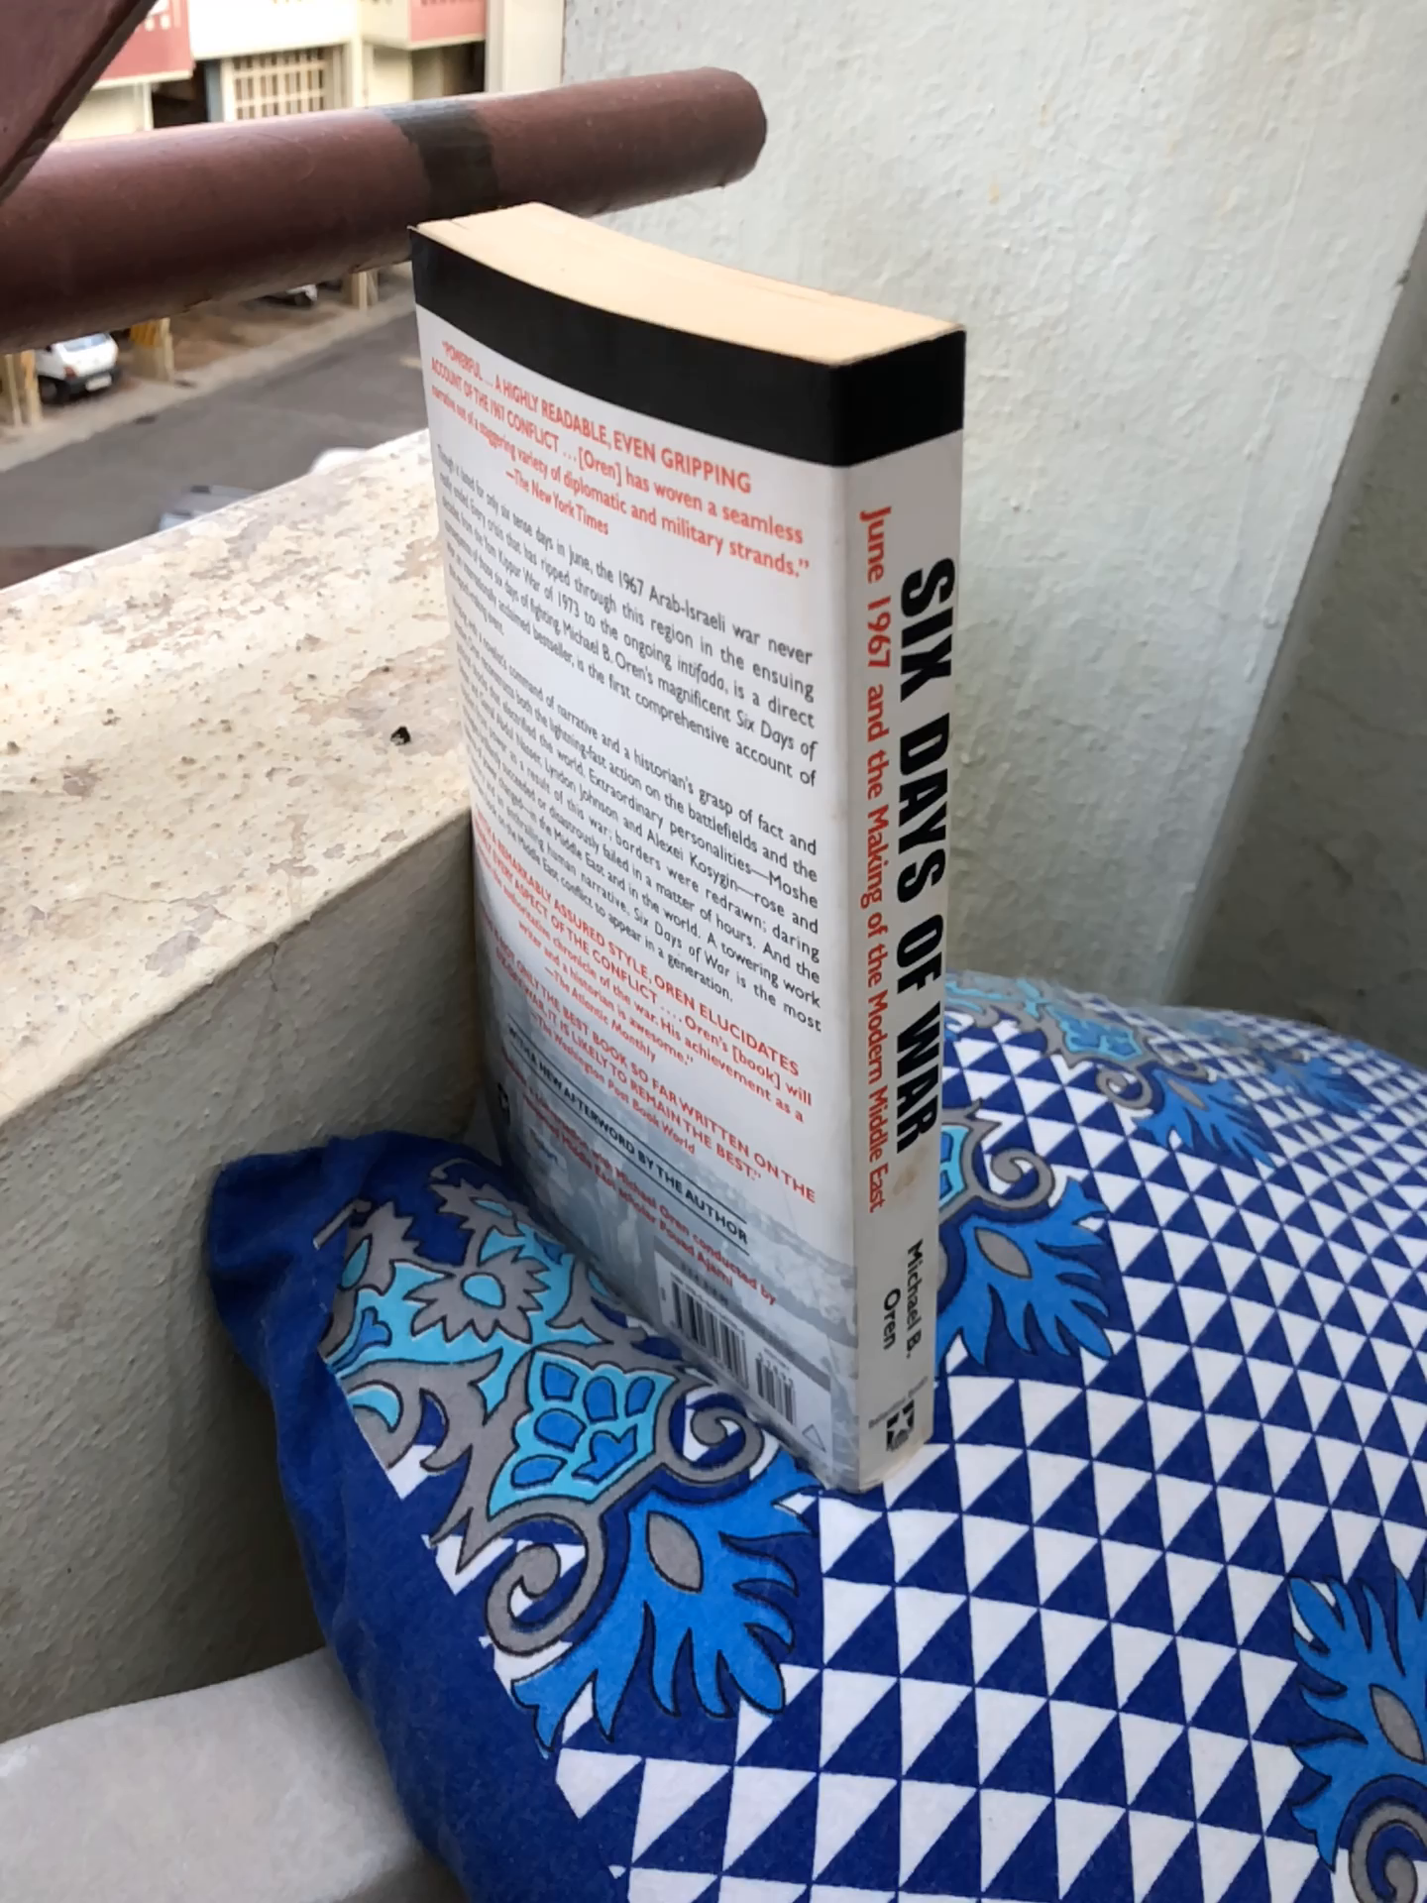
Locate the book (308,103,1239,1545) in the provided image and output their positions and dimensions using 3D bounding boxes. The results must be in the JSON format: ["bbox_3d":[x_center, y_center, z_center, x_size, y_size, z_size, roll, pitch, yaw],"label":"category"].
[{"bbox_3d":[-0.007,-0.025,0.337,0.050,0.249,0.180,-24,44,-31],"label":"book"}]
